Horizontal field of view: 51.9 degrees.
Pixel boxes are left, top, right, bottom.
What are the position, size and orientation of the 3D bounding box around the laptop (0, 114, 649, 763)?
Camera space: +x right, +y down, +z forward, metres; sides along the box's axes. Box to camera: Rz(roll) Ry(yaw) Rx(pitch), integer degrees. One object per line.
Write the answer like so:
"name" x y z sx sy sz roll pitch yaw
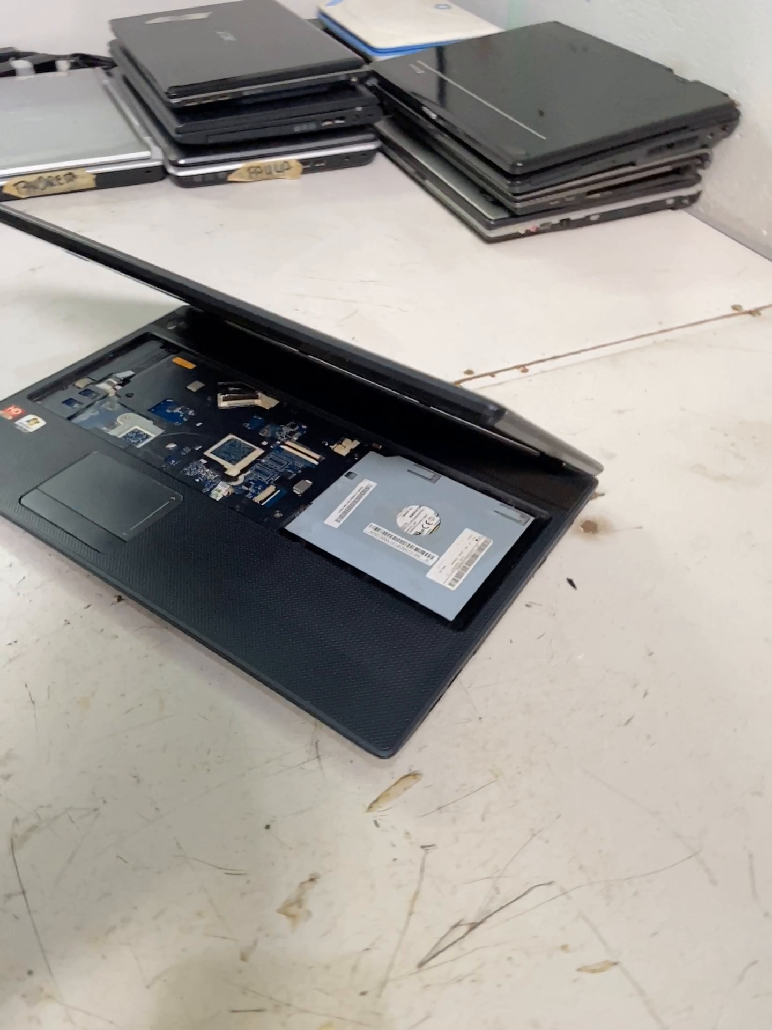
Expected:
"laptop" -0.085 -0.085 0.461 0.370 0.156 0.240 26 48 25
